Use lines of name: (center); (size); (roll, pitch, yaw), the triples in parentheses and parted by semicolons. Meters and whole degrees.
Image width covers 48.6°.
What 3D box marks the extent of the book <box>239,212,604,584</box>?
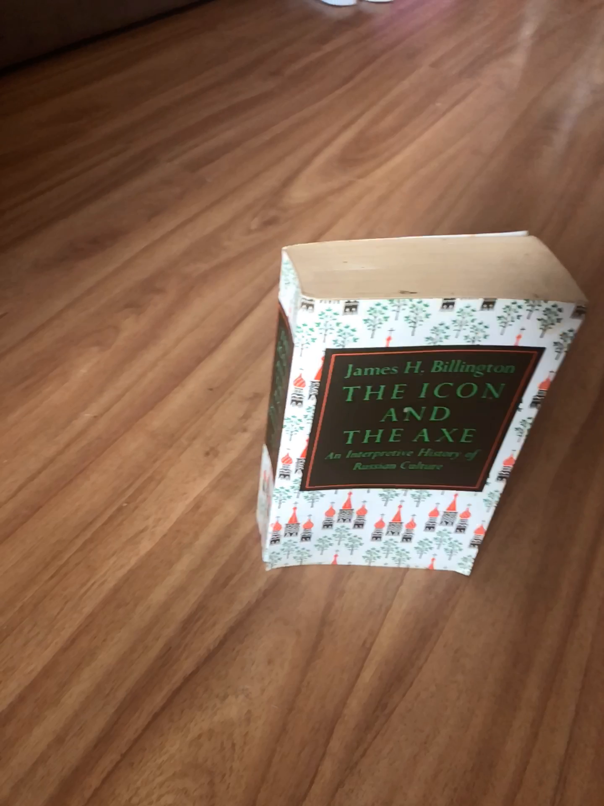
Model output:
book: (0.047, 0.012, 0.346); (0.150, 0.199, 0.060); (2, 42, -7)
